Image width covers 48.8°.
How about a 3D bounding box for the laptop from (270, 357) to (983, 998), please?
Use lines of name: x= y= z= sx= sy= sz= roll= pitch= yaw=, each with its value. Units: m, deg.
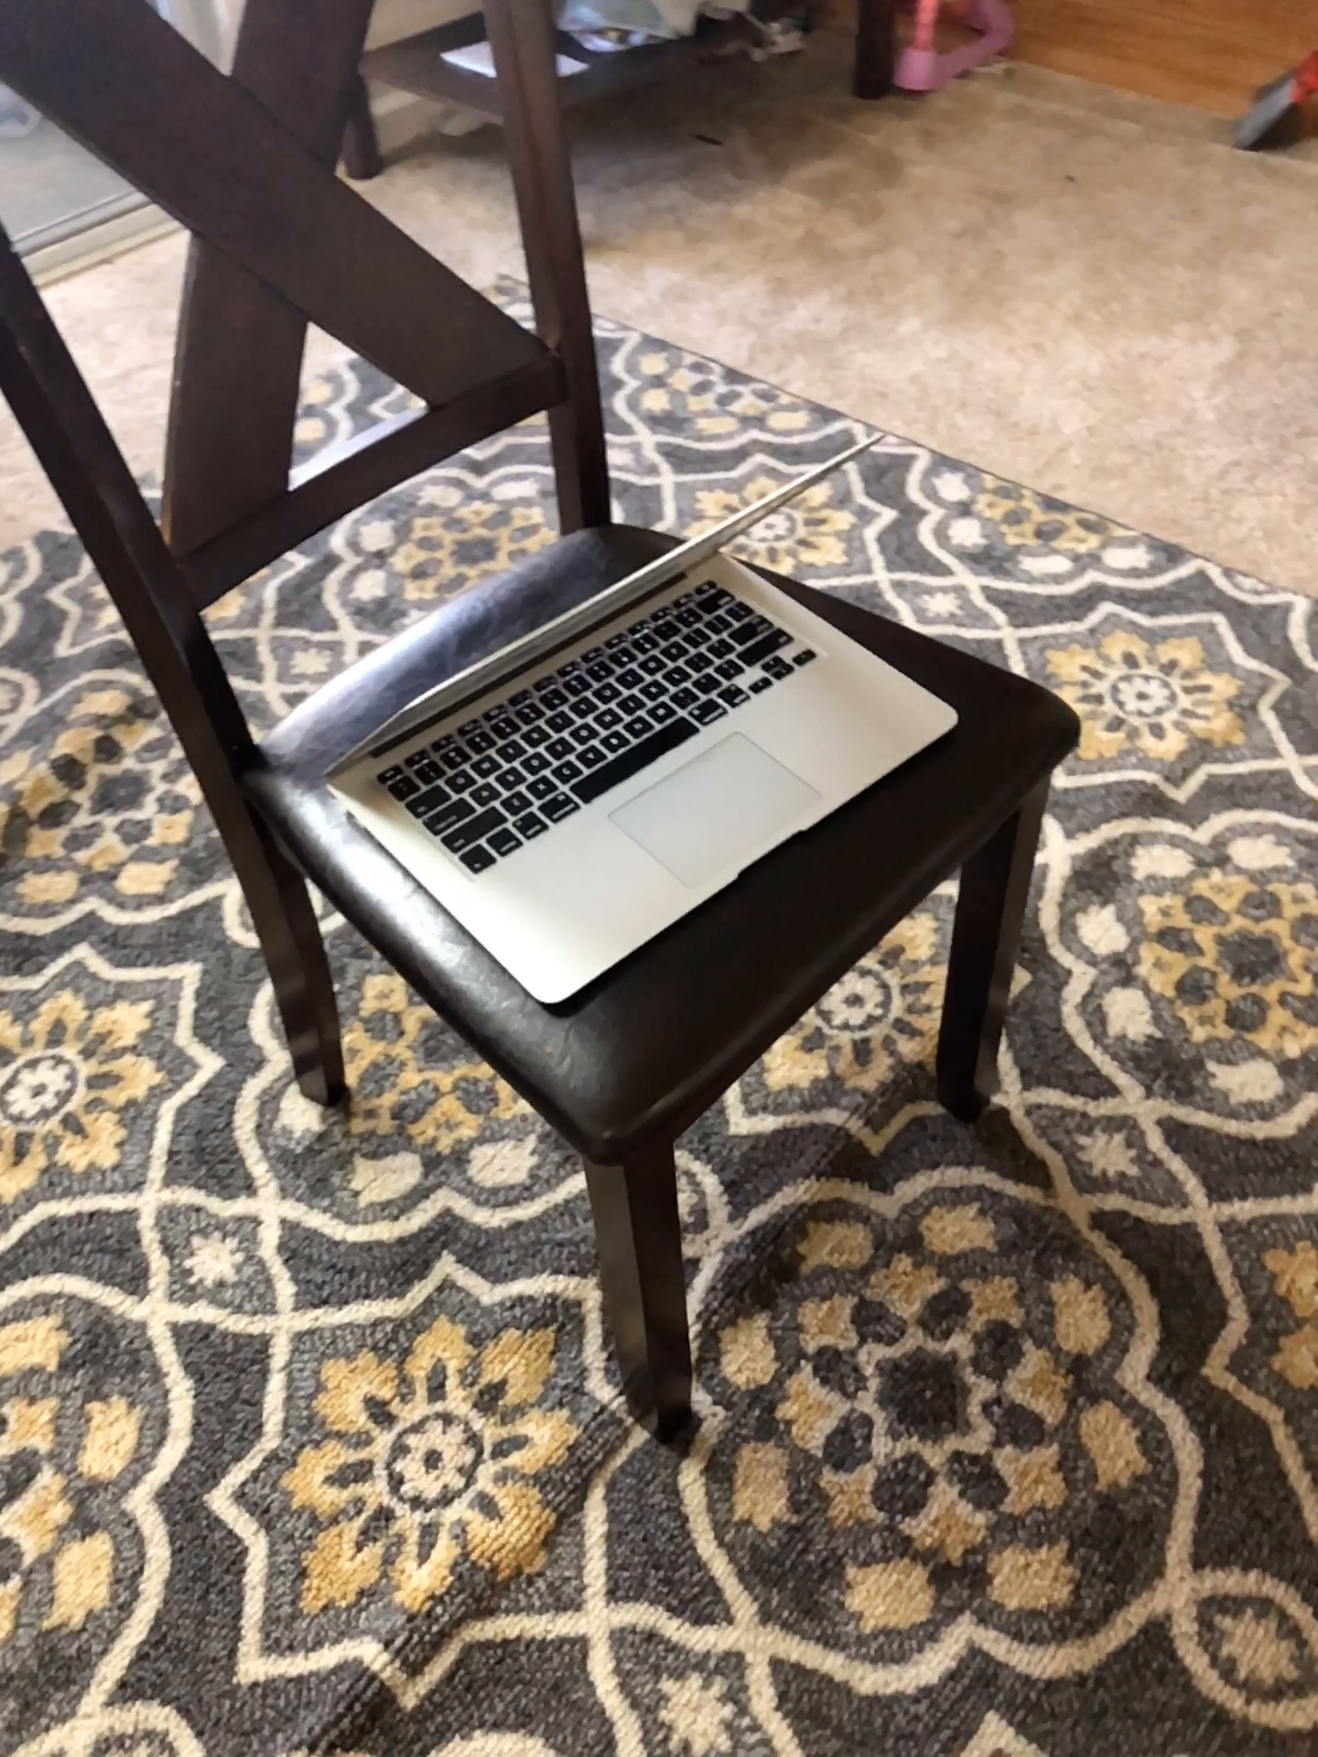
laptop: x=-0.013 y=-0.126 z=0.809 sx=0.304 sy=0.154 sz=0.216 roll=-34 pitch=54 yaw=-24
